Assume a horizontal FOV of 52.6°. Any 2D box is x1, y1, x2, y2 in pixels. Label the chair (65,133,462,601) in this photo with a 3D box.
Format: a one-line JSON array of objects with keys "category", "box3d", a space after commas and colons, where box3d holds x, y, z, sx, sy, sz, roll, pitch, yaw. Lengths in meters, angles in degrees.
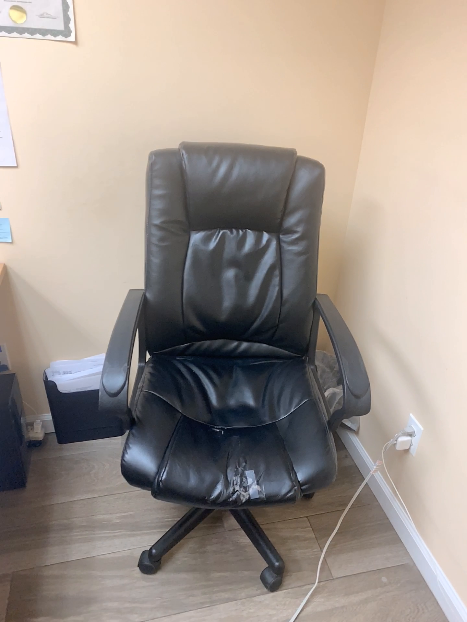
[{"category": "chair", "box3d": [0.022, 0.147, 1.300, 0.648, 1.083, 0.630, 3, 28, -2]}]
